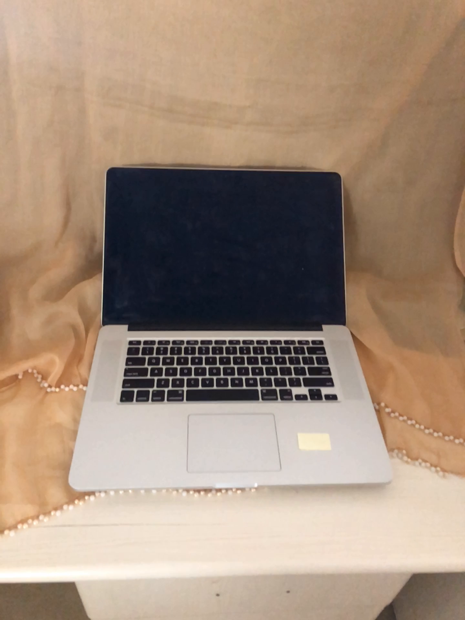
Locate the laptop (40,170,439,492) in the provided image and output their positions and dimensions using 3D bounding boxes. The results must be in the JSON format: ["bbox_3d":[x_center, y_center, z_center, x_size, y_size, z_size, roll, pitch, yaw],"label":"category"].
[{"bbox_3d":[-0.002,-0.007,0.622,0.336,0.135,0.408,0,44,-4],"label":"laptop"}]
